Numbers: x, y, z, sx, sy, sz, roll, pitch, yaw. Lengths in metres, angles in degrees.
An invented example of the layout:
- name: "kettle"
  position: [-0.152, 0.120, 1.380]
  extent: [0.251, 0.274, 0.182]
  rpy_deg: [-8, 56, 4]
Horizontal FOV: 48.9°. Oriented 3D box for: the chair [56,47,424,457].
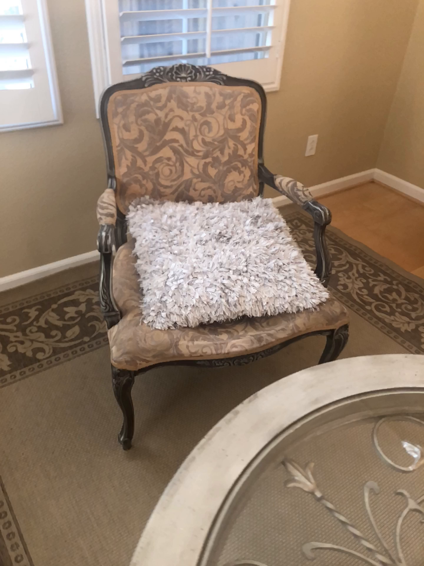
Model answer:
- name: "chair"
  position: [0.005, -0.126, 1.445]
  extent: [0.762, 0.971, 0.654]
  rpy_deg: [-9, 38, -16]
